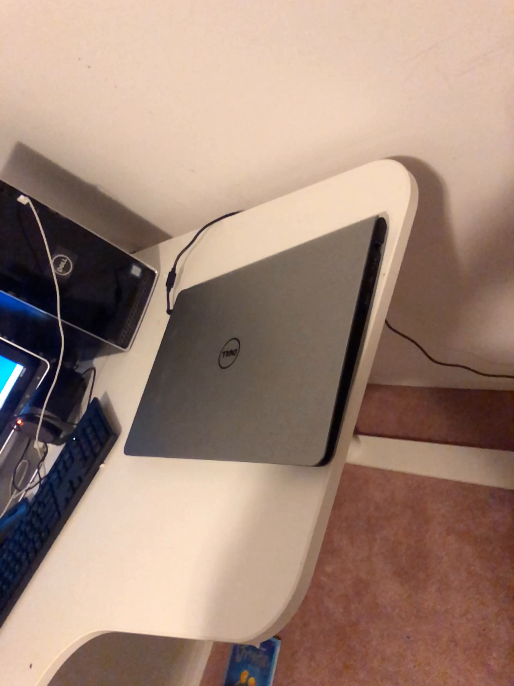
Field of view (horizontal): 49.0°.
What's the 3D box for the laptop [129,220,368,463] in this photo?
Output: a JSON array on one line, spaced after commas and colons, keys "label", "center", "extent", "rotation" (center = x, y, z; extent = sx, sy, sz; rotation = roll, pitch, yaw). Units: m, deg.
[{"label": "laptop", "center": [-0.032, 0.011, 0.666], "extent": [0.373, 0.001, 0.247], "rotation": [-12, 57, 52]}]
